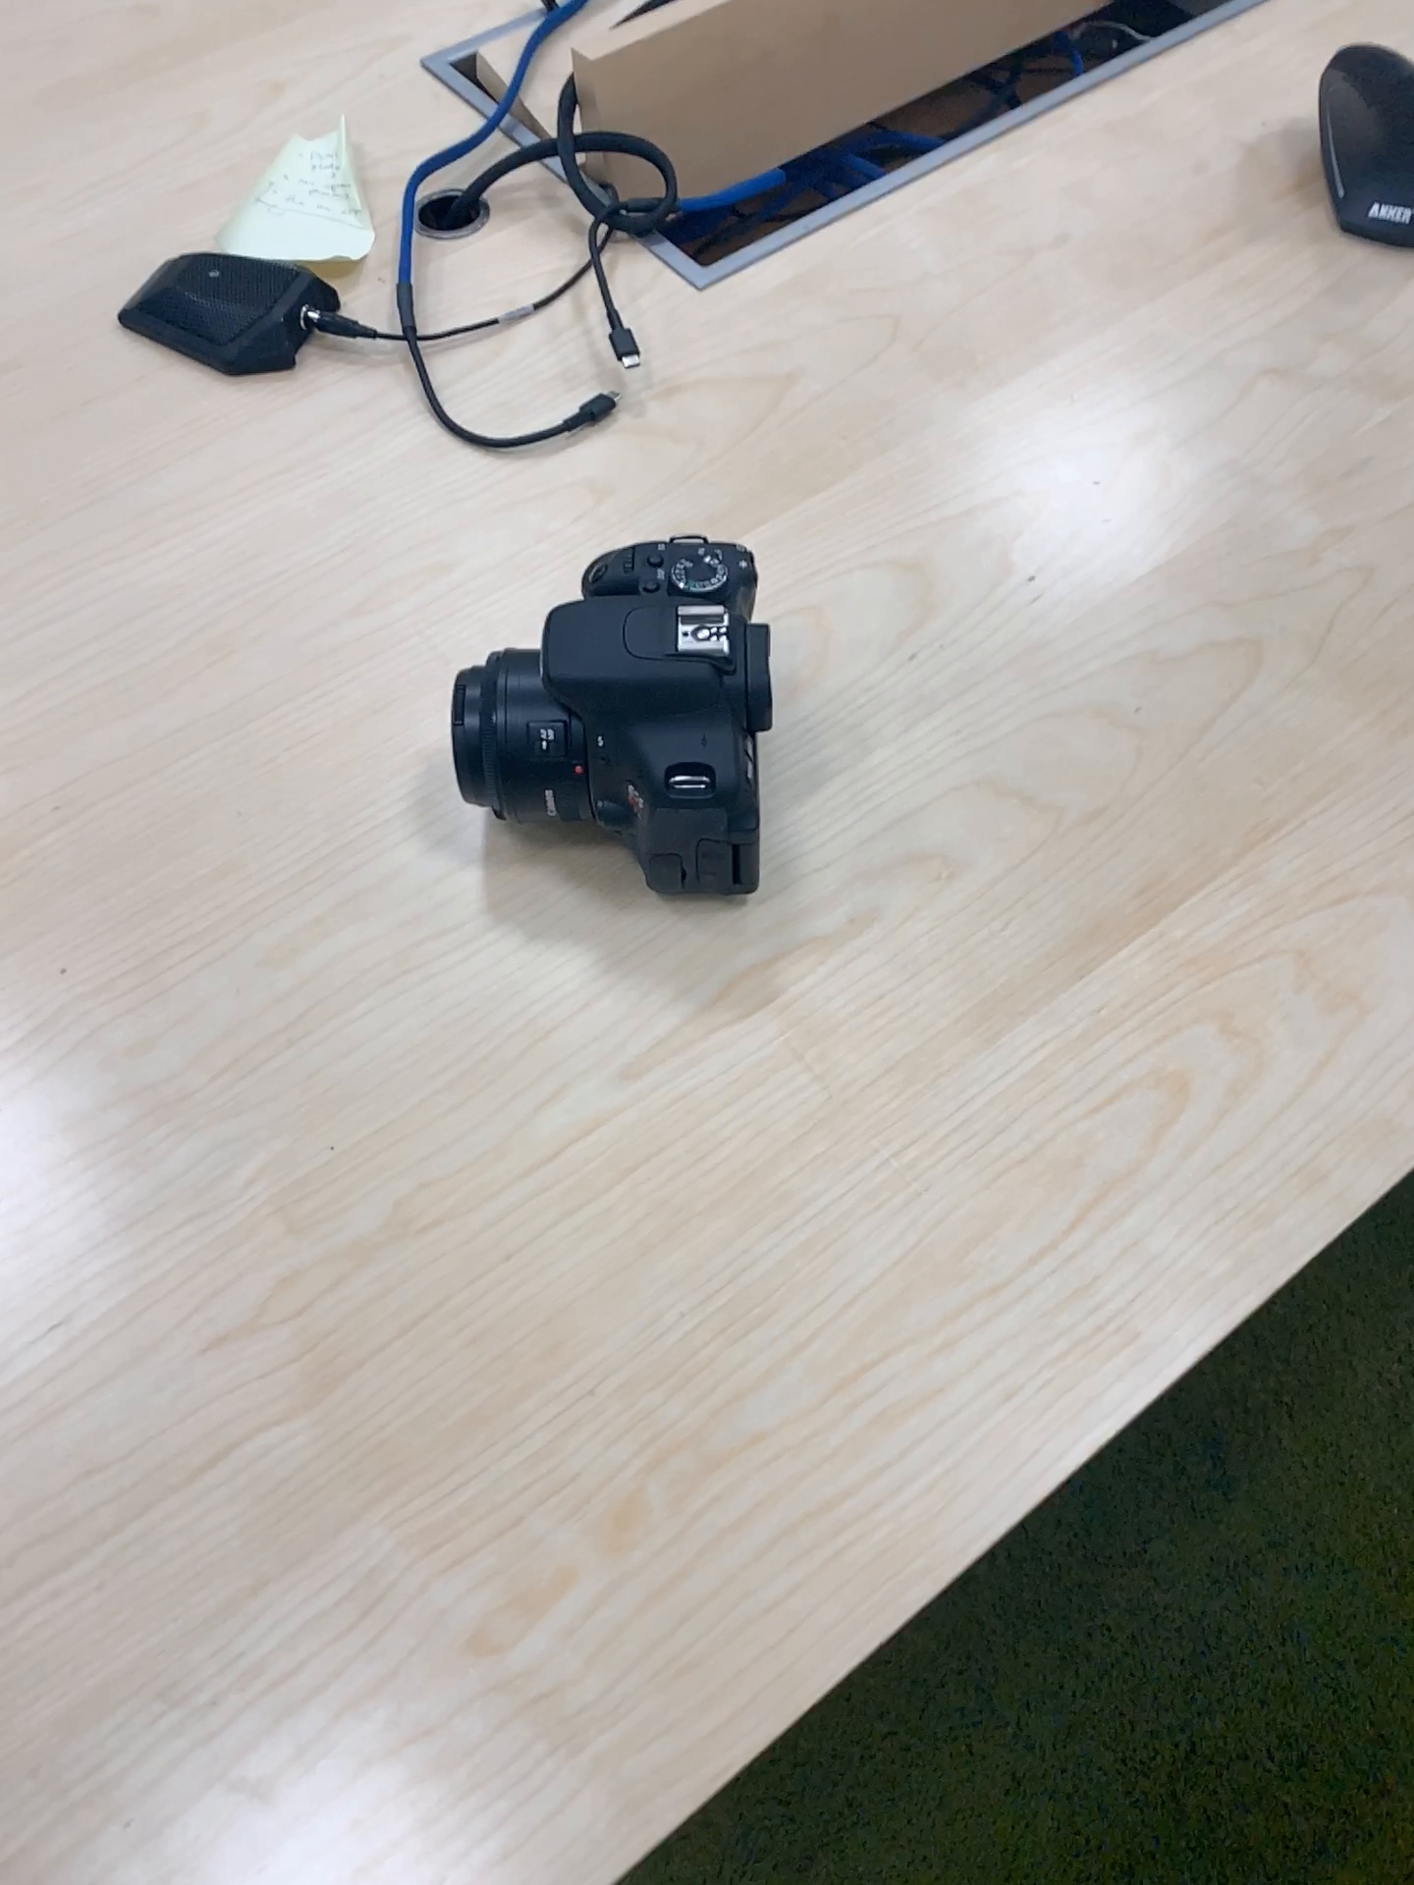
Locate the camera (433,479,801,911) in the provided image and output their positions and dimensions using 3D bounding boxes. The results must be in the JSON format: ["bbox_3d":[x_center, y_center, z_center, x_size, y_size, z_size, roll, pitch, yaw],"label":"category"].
[{"bbox_3d":[-0.028,-0.092,0.542,0.120,0.090,0.130,-1,60,2],"label":"camera"}]
